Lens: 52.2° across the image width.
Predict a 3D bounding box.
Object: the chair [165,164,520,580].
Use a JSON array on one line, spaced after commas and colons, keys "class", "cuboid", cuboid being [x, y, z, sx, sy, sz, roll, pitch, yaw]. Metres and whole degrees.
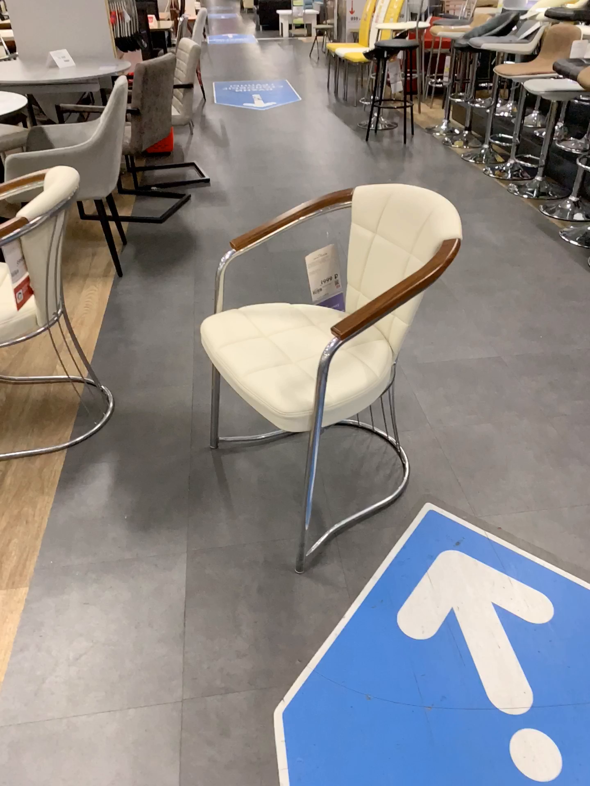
[{"class": "chair", "cuboid": [0.091, -0.094, 1.646, 0.601, 0.815, 0.602, -19, 38, -24]}]
